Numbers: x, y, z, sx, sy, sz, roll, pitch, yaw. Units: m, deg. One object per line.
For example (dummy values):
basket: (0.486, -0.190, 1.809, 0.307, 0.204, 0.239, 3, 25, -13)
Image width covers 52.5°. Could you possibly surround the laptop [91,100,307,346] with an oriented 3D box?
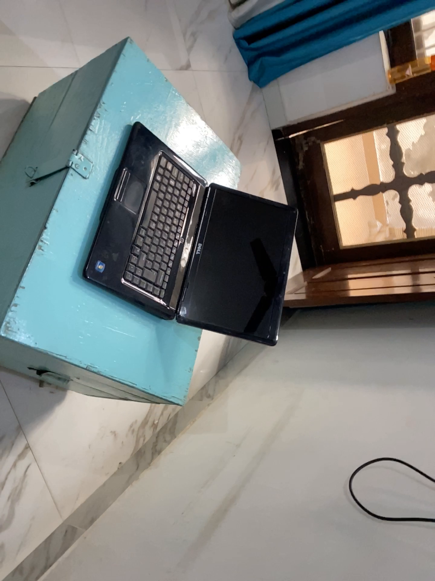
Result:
laptop: (-0.002, -0.115, 0.974, 0.414, 0.162, 0.363, 32, 61, -43)
